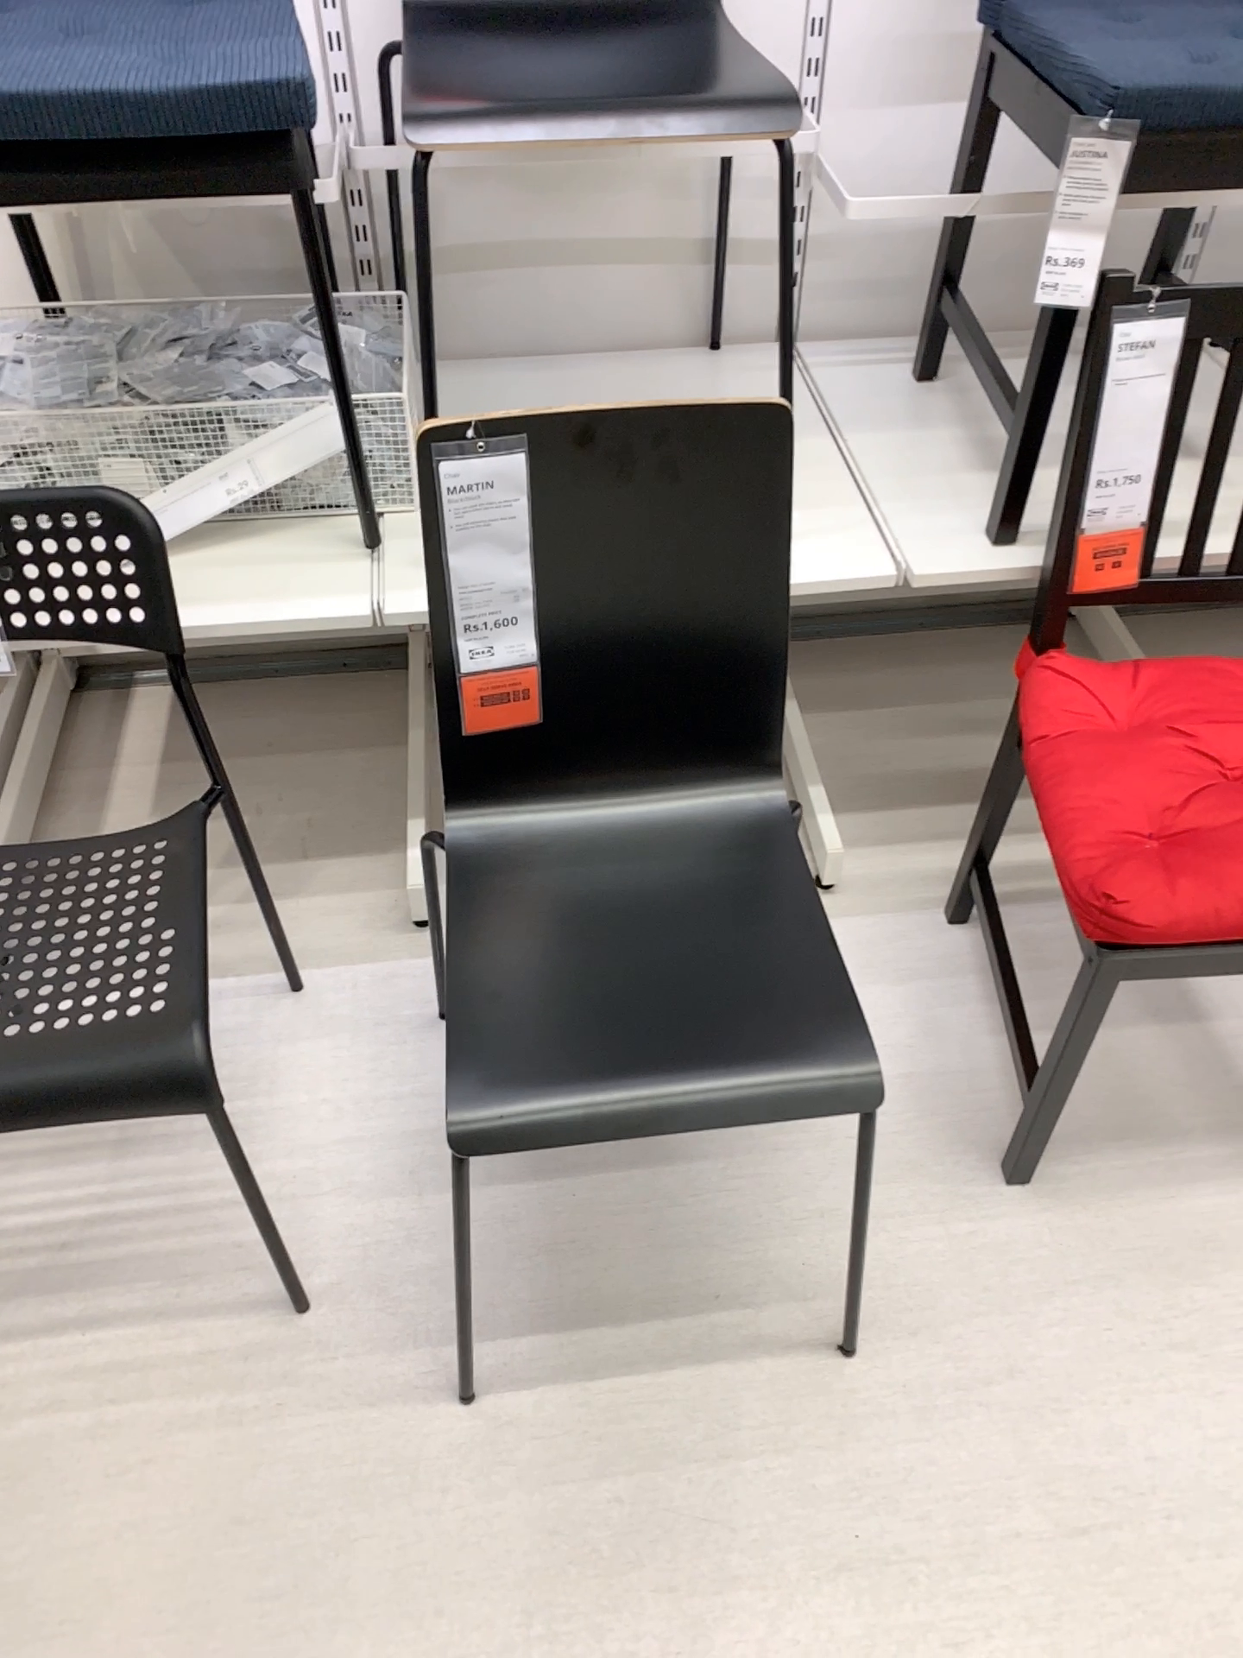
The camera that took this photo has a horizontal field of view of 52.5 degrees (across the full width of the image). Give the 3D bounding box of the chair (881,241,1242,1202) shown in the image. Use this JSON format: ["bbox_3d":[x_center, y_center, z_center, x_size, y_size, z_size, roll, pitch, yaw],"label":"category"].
[{"bbox_3d":[0.614,-0.066,1.303,0.450,0.857,0.482,-4,45,-4],"label":"chair"}]

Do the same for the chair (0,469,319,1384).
[{"bbox_3d":[-0.612,0.116,1.267,0.470,0.727,0.532,-5,45,-6],"label":"chair"}]

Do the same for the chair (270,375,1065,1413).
[{"bbox_3d":[-0.005,0.092,1.252,0.480,0.827,0.592,-5,45,-5],"label":"chair"}]
